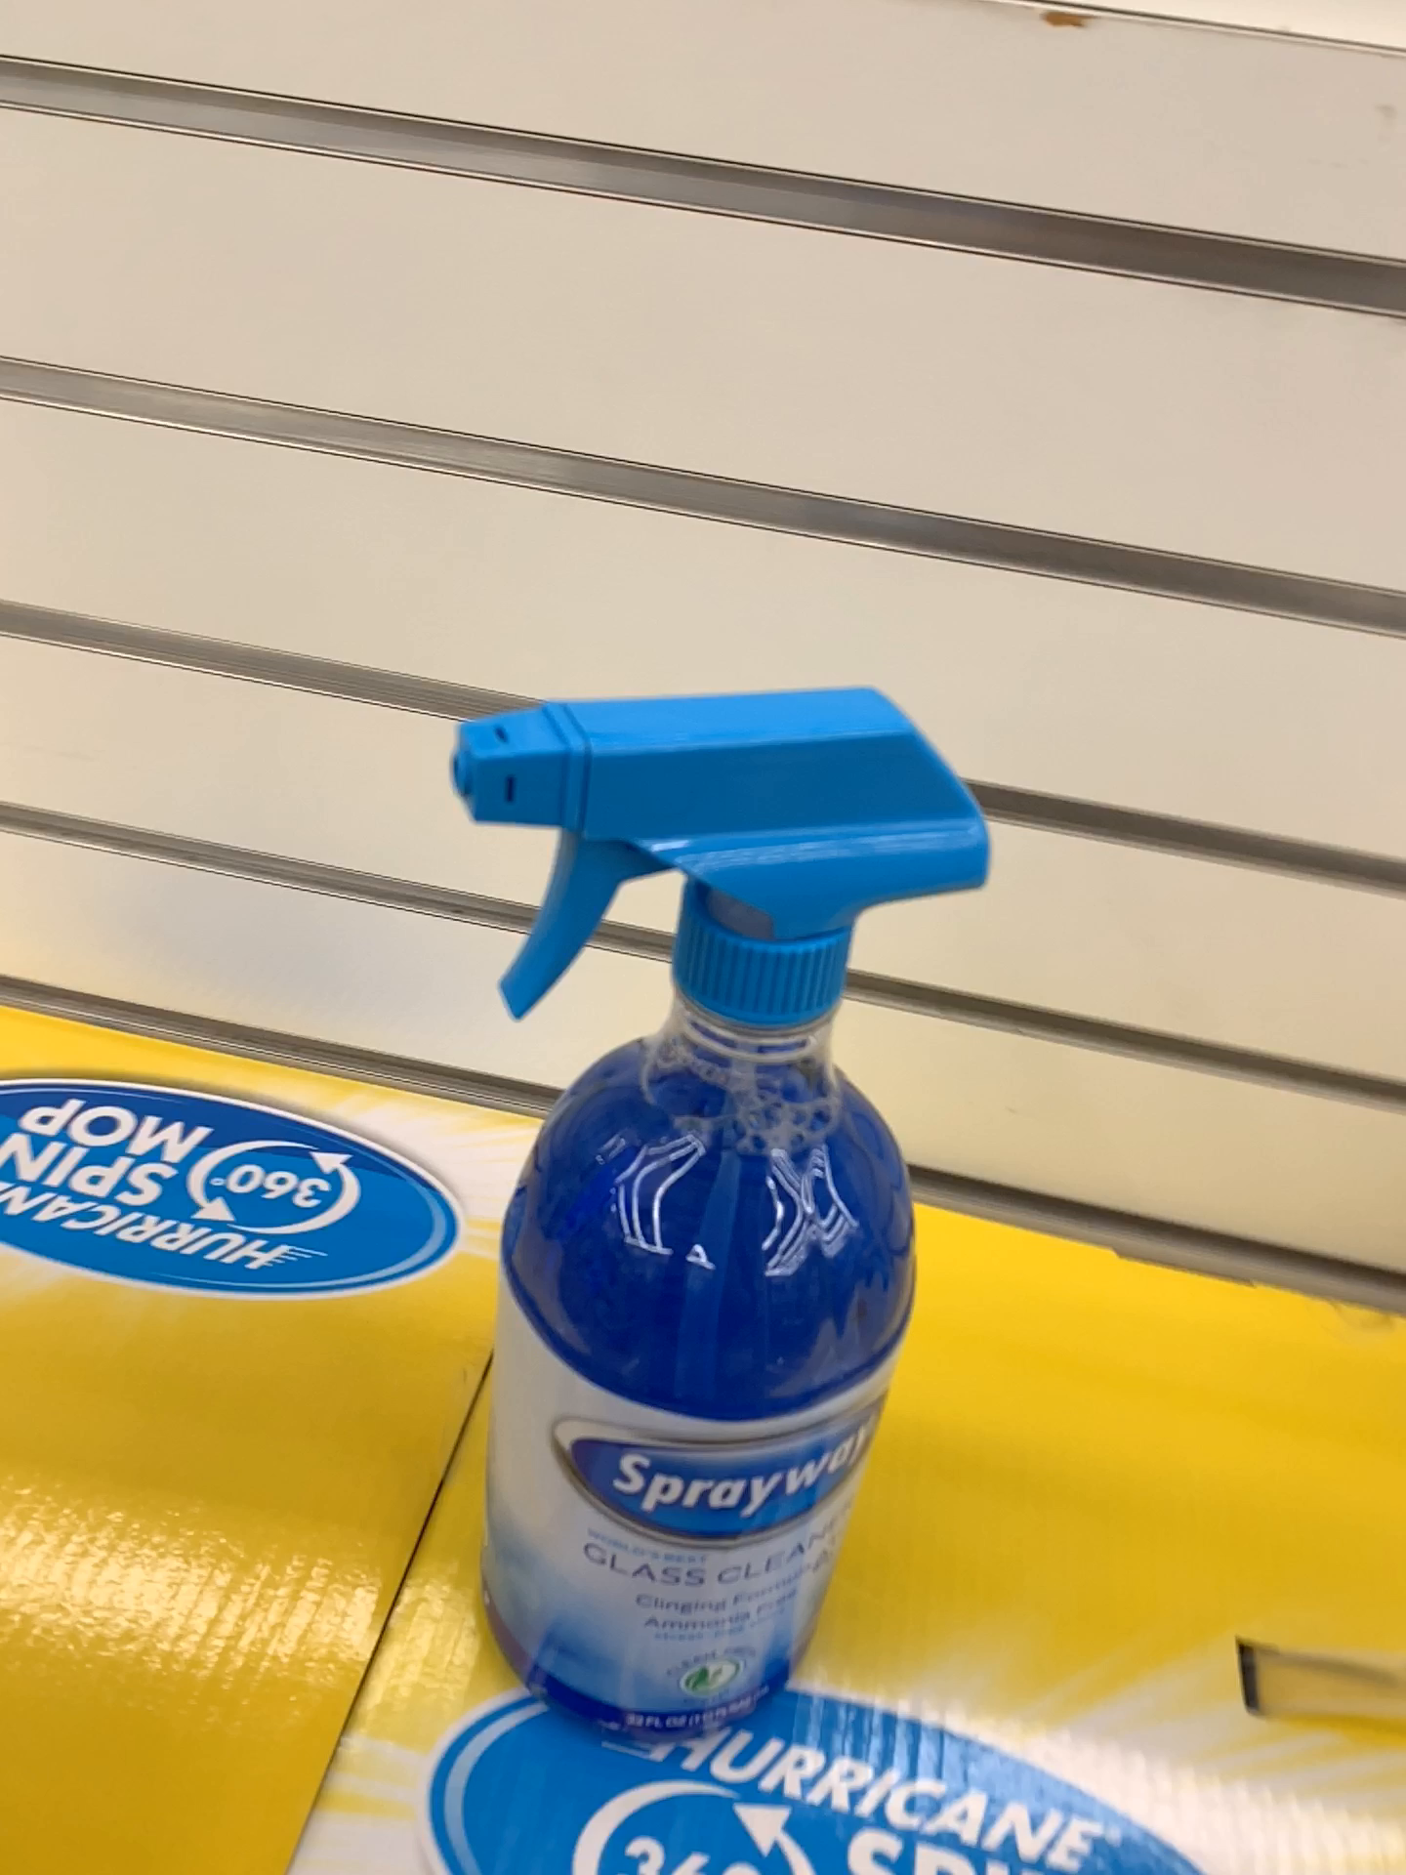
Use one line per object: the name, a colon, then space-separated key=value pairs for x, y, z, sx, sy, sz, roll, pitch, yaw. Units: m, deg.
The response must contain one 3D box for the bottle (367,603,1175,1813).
bottle: x=-0.009 y=0.065 z=0.294 sx=0.110 sy=0.239 sz=0.090 roll=-1 pitch=35 yaw=-13
